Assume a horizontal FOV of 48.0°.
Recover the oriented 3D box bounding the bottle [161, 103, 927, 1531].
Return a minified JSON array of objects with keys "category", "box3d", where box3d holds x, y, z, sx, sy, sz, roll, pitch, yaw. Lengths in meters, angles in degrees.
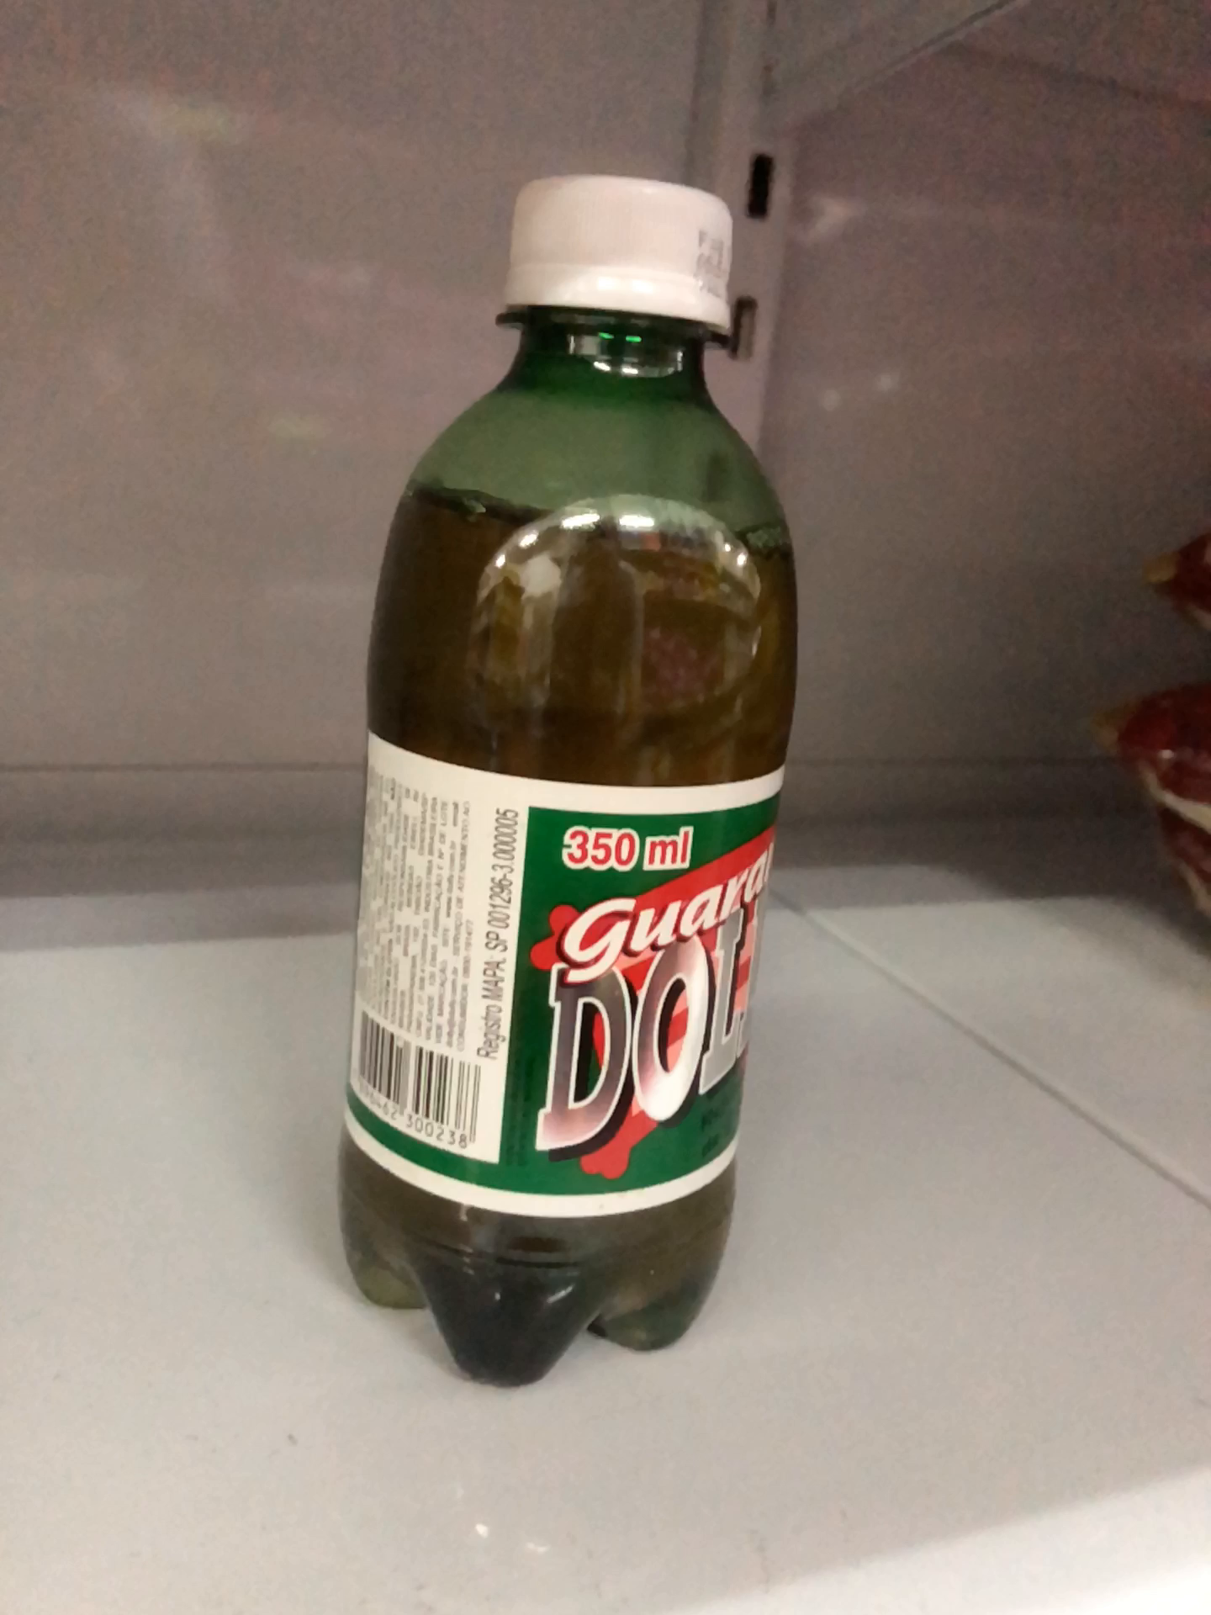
[{"category":"bottle","box3d":[-0.013,-0.002,0.214,0.070,0.179,0.080,17,19,34]}]
